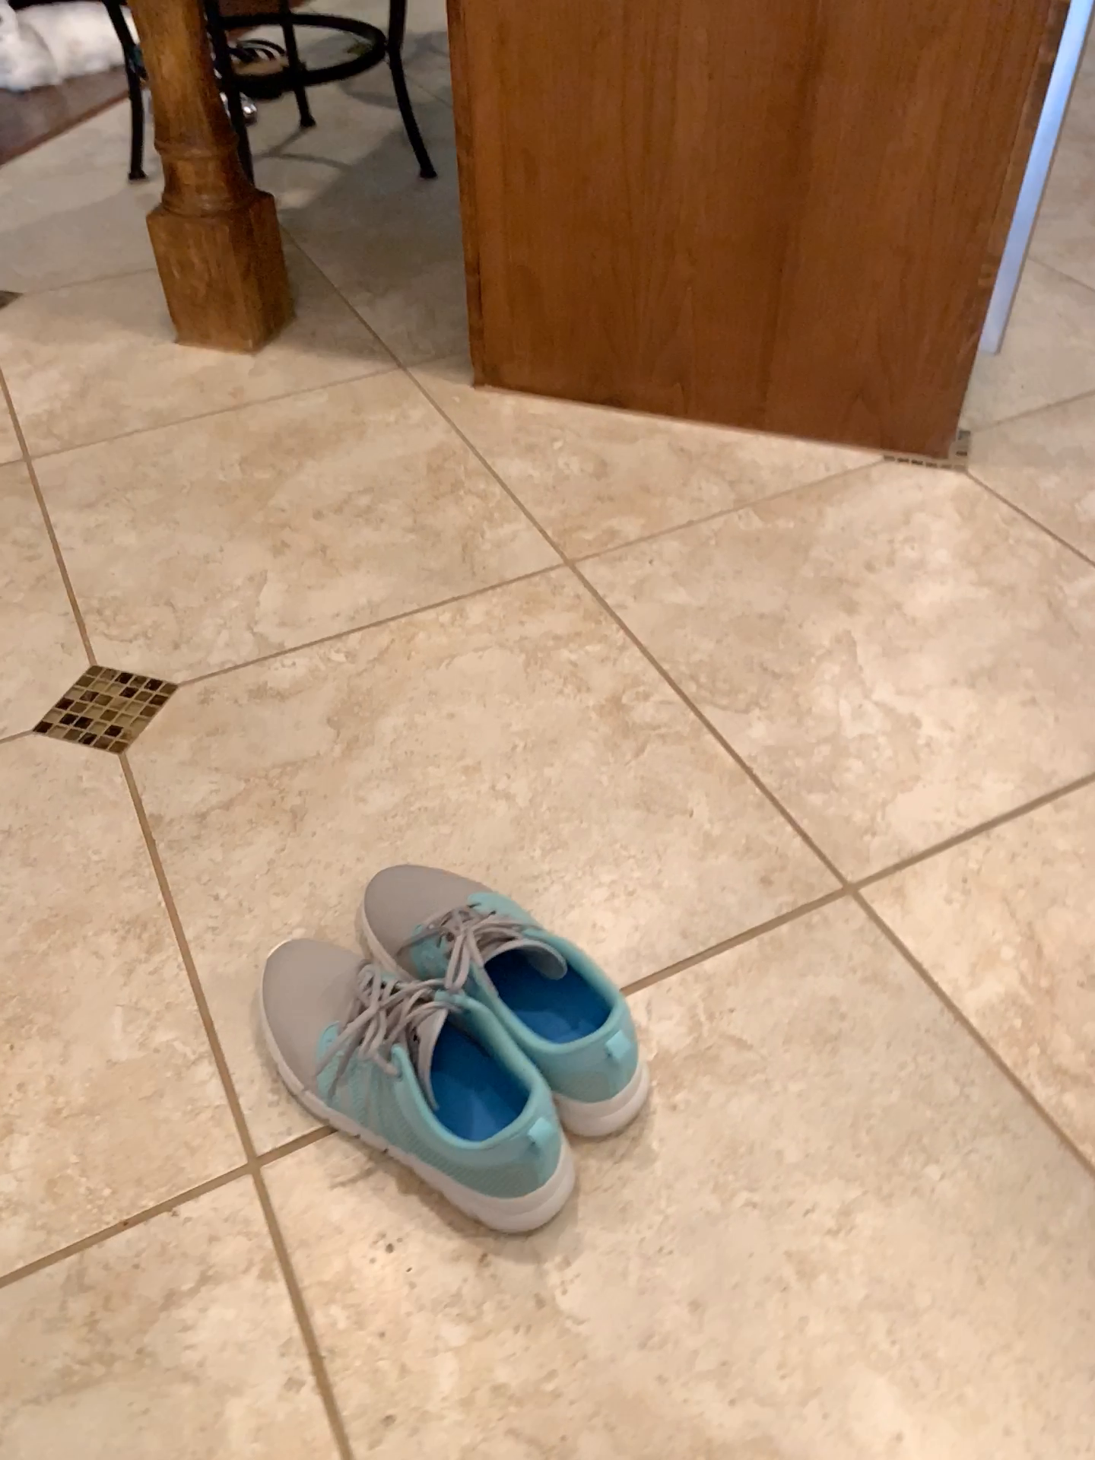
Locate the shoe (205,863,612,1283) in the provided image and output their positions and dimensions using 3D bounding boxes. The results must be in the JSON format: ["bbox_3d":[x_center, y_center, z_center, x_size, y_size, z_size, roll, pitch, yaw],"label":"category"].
[{"bbox_3d":[-0.096,0.226,0.771,0.271,0.108,0.107,30,53,28],"label":"shoe"}]

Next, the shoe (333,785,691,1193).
[{"bbox_3d":[-0.032,0.179,0.822,0.106,0.108,0.272,-30,51,-26],"label":"shoe"}]
